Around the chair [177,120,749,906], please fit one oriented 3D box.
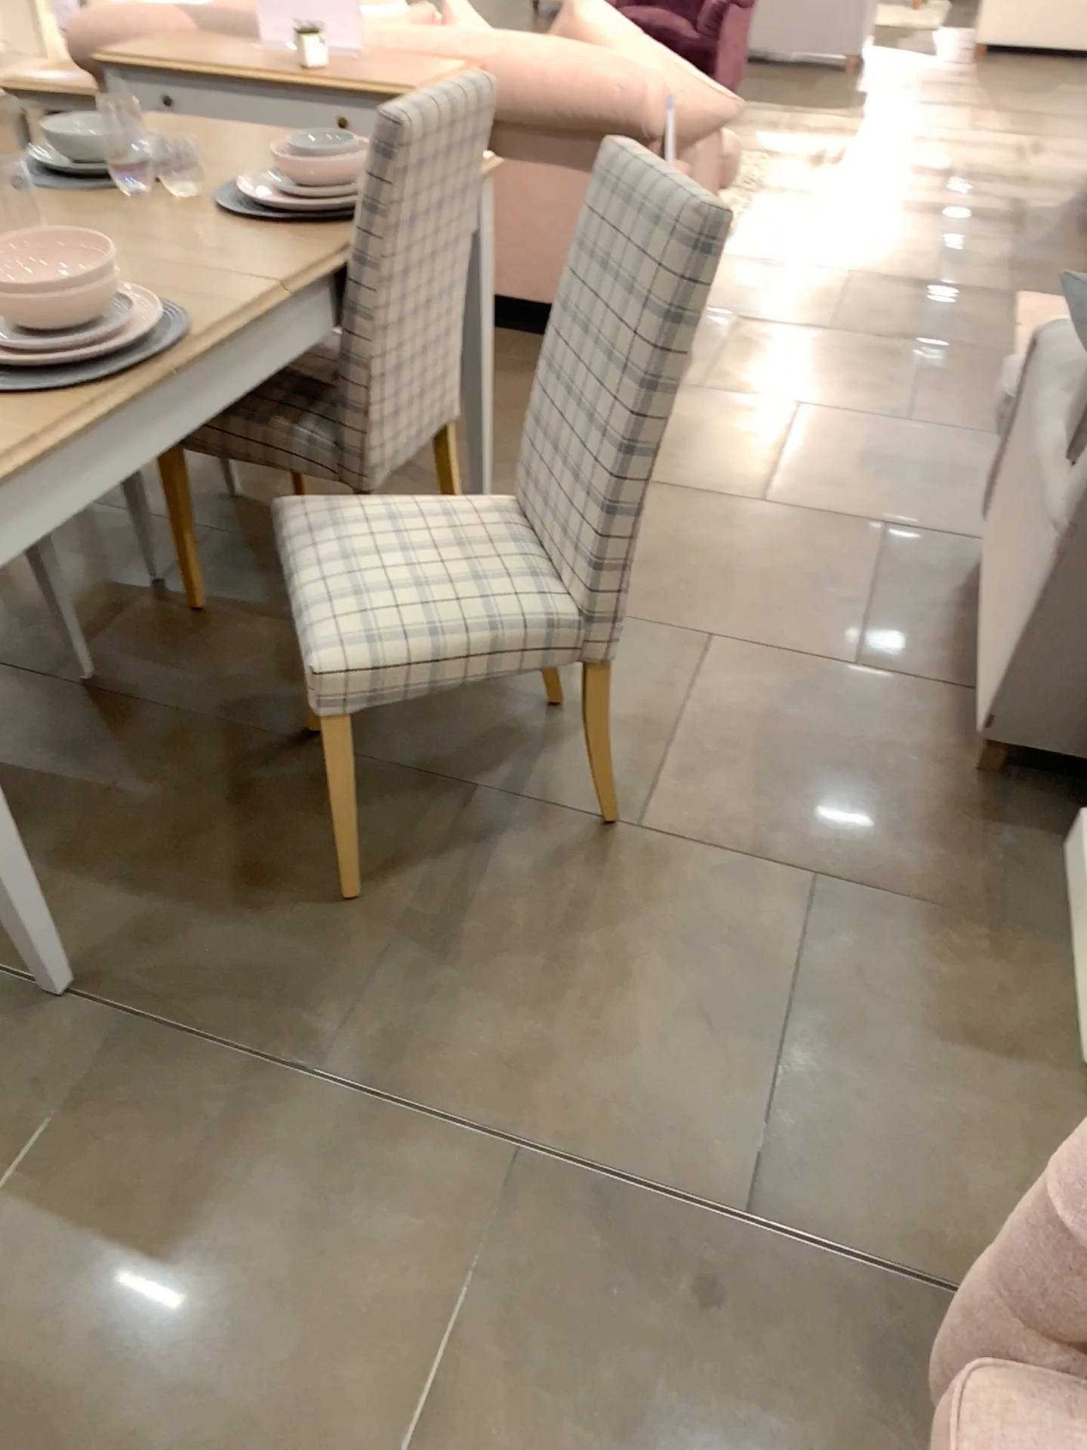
[{"bbox_3d":[-0.124,-0.278,1.581,0.566,0.937,0.432,-12,42,-15],"label":"chair"}]
